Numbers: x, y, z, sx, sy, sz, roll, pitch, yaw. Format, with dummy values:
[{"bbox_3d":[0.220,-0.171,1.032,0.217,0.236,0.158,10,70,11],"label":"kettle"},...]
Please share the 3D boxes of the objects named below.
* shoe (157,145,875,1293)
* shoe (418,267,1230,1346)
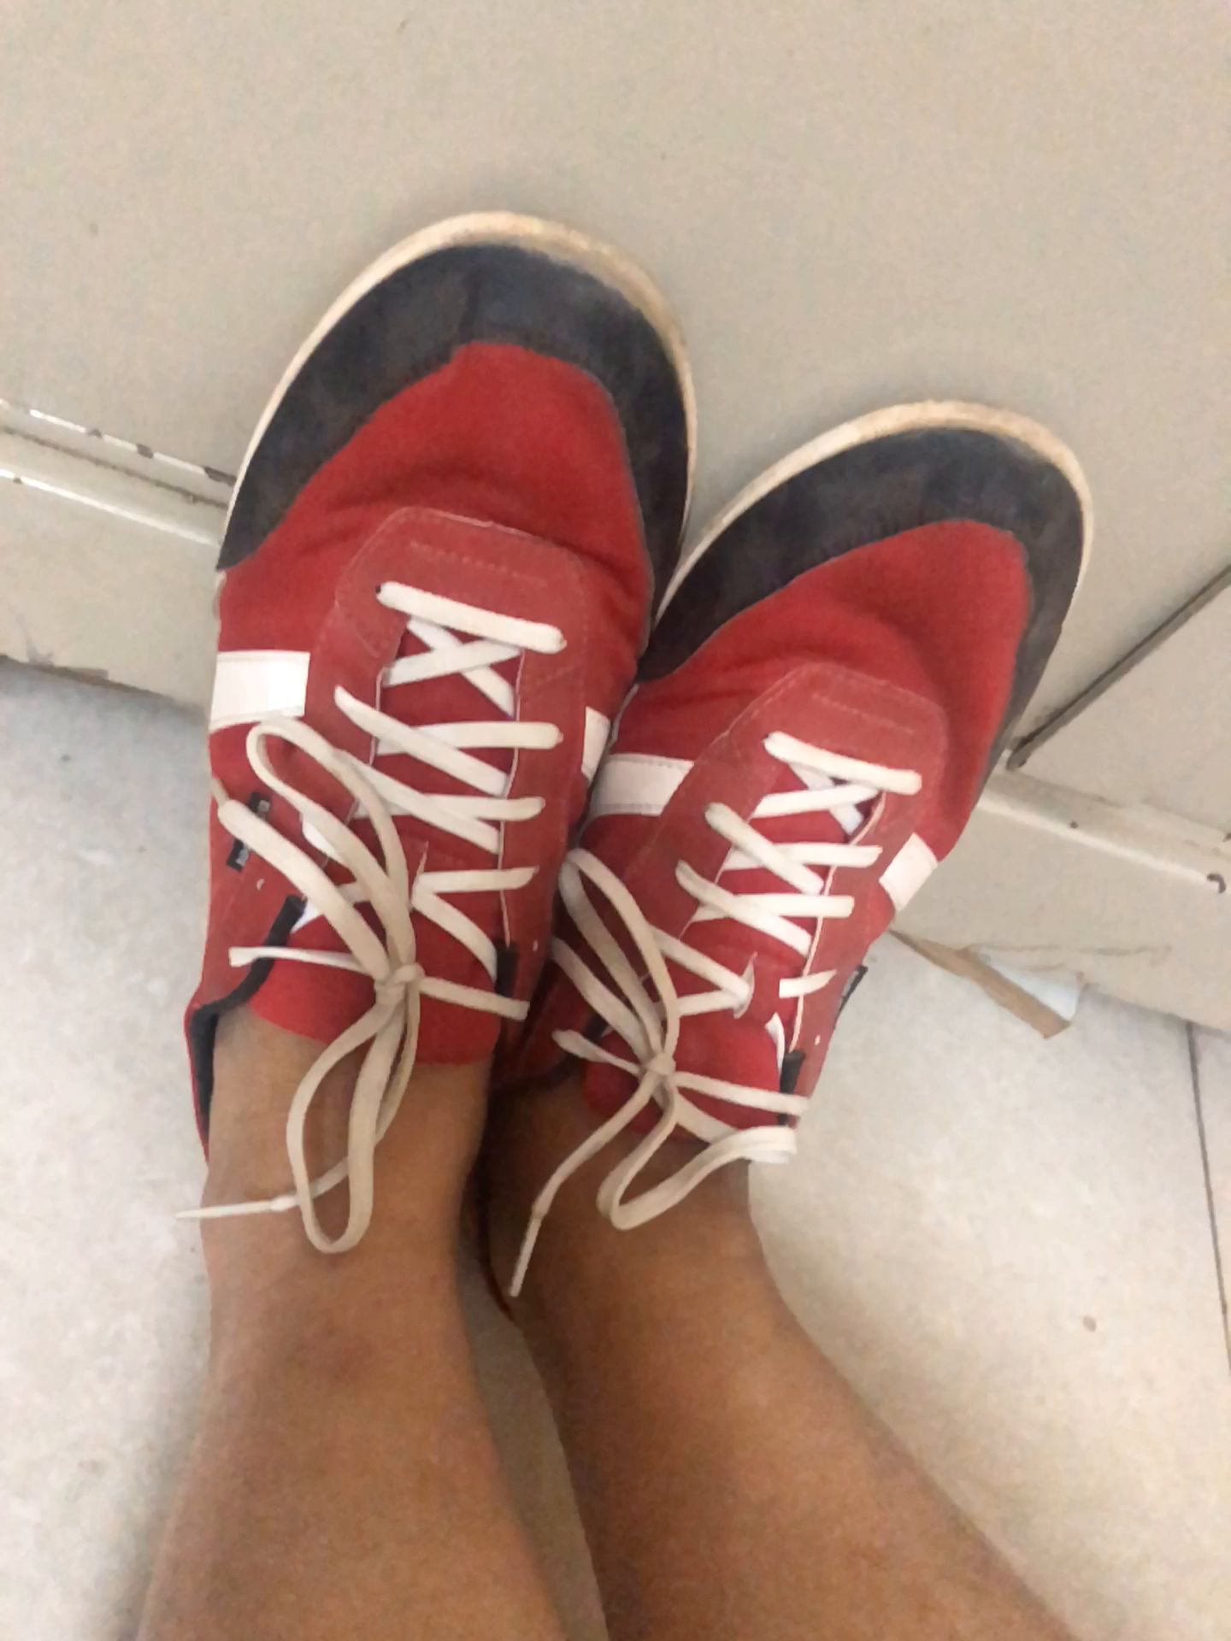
[{"bbox_3d":[-0.038,-0.013,0.308,0.100,0.229,0.080,4,27,-23],"label":"shoe"},{"bbox_3d":[0.035,0.006,0.350,0.100,0.249,0.080,15,23,-16],"label":"shoe"}]
